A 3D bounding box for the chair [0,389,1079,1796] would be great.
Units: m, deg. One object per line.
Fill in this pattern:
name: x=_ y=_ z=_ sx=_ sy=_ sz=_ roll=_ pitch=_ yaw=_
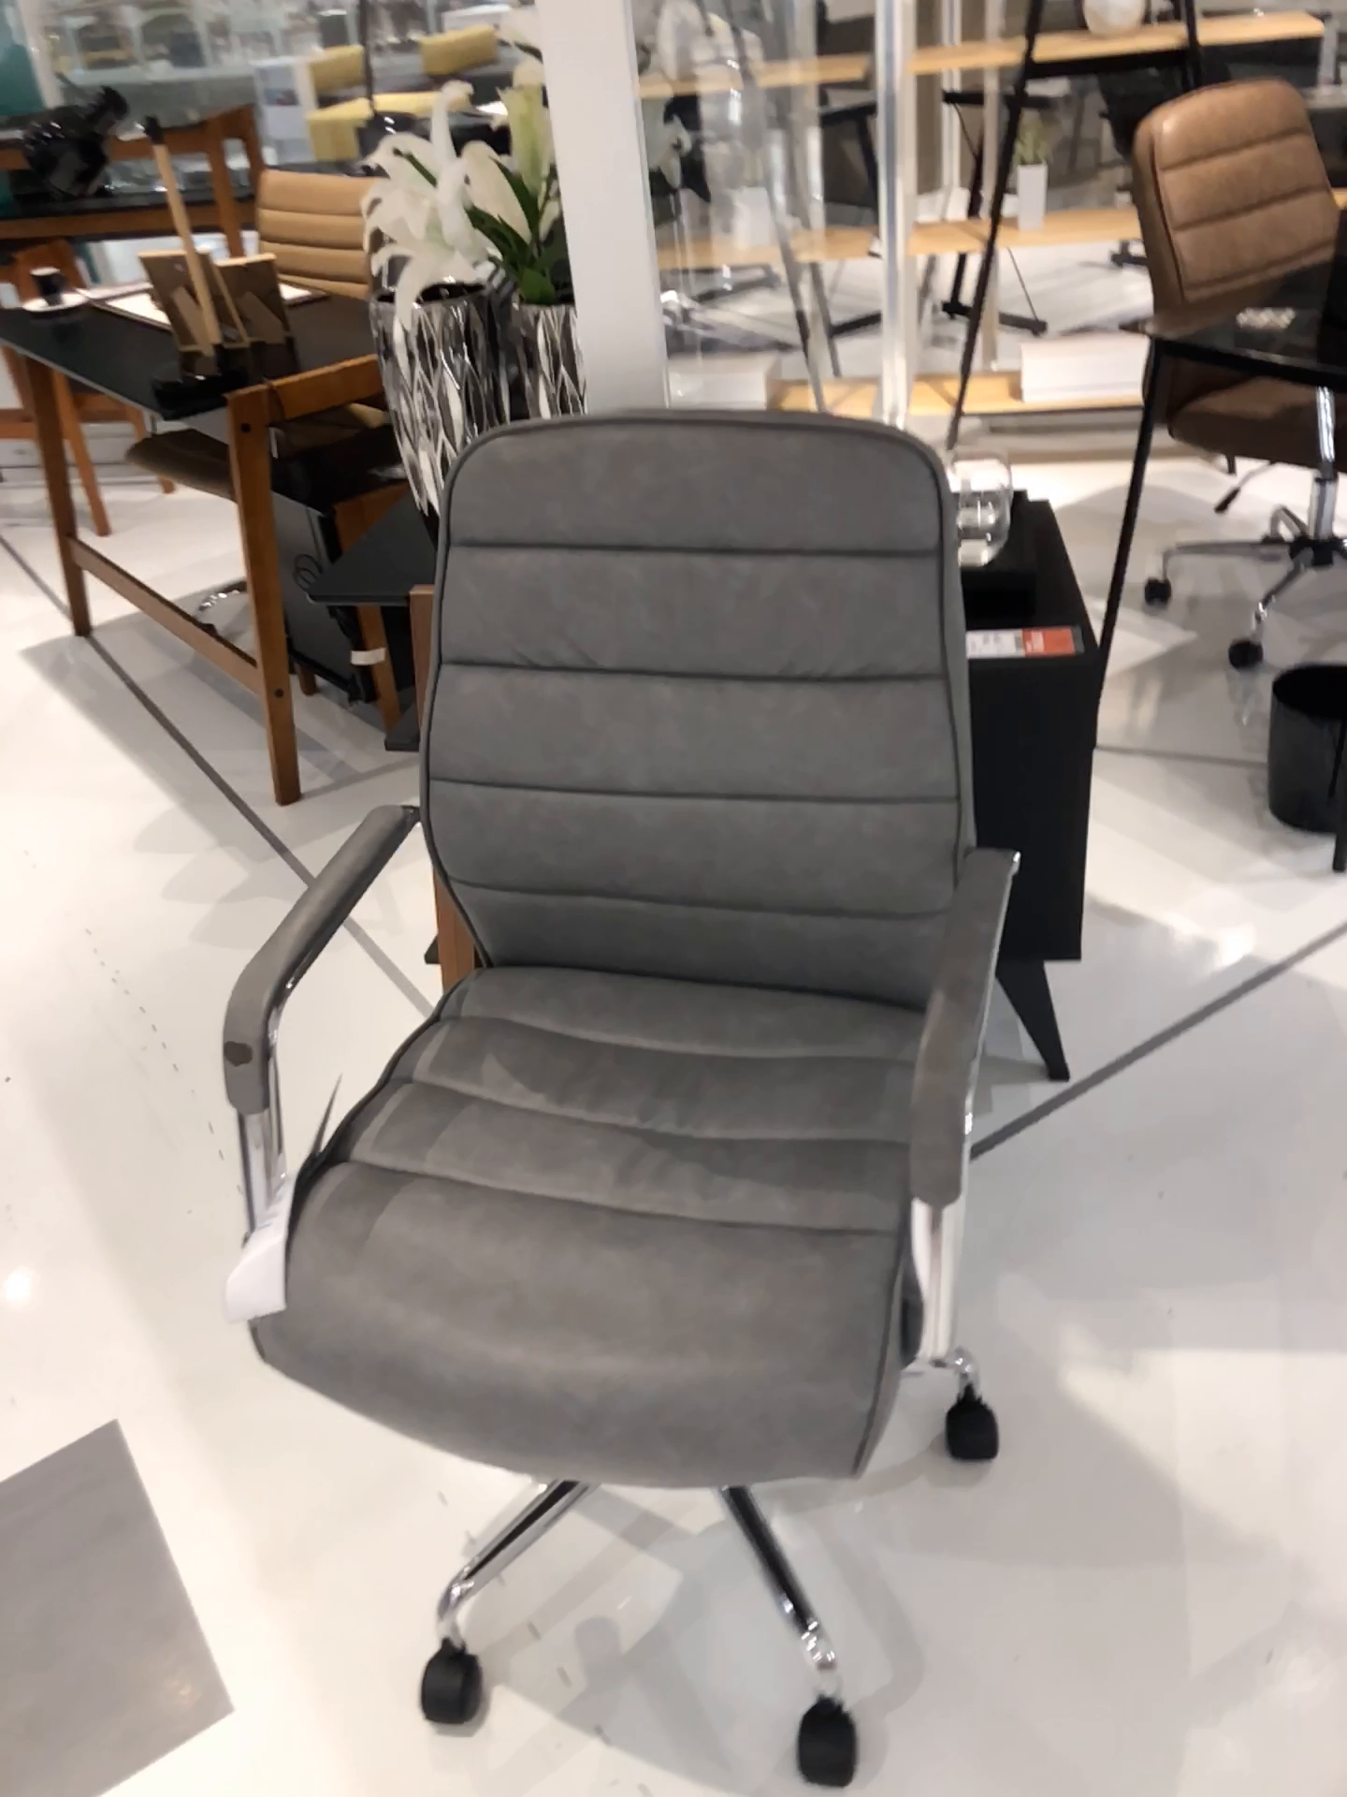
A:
chair: x=-0.033 y=0.179 z=1.188 sx=0.600 sy=0.992 sz=0.554 roll=6 pitch=36 yaw=18
